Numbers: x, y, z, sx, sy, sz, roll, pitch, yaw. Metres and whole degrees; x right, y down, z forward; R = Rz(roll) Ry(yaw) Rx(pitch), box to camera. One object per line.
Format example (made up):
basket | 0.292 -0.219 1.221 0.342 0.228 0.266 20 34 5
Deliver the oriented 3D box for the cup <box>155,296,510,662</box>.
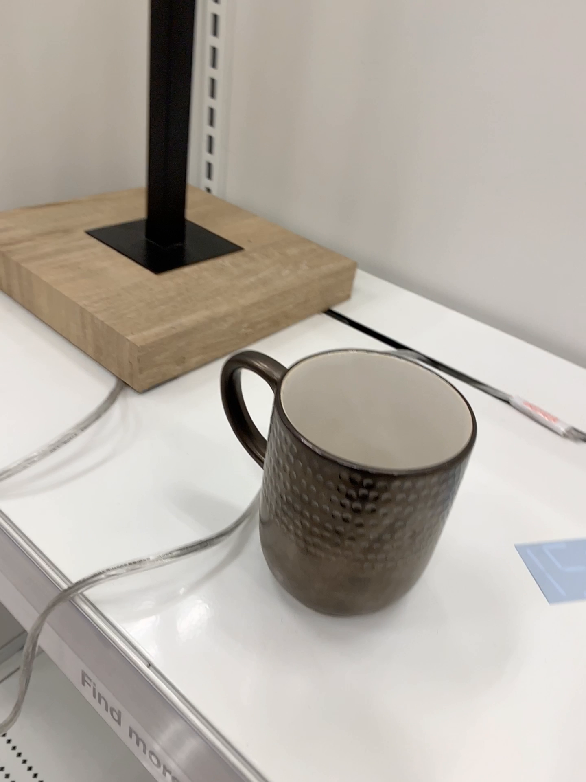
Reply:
cup | 0.014 0.033 0.300 0.131 0.093 0.095 28 40 24
